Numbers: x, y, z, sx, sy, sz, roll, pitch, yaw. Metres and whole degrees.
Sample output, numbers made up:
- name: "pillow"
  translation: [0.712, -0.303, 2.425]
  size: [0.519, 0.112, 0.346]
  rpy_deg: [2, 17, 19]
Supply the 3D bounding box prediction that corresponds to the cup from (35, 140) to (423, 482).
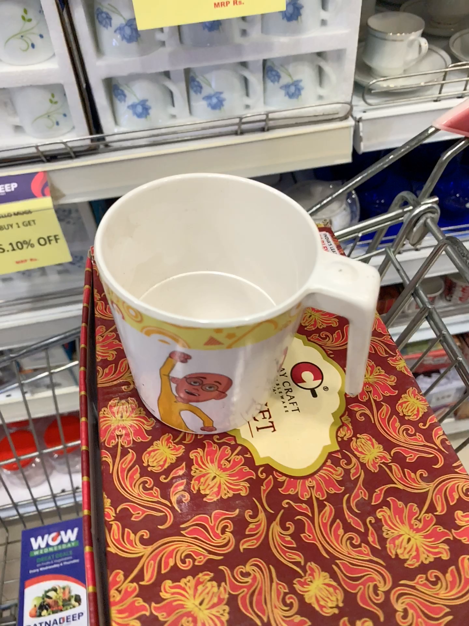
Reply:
- name: "cup"
  translation: [0.004, -0.002, 0.191]
  size: [0.110, 0.080, 0.080]
  rpy_deg: [13, 51, 9]
